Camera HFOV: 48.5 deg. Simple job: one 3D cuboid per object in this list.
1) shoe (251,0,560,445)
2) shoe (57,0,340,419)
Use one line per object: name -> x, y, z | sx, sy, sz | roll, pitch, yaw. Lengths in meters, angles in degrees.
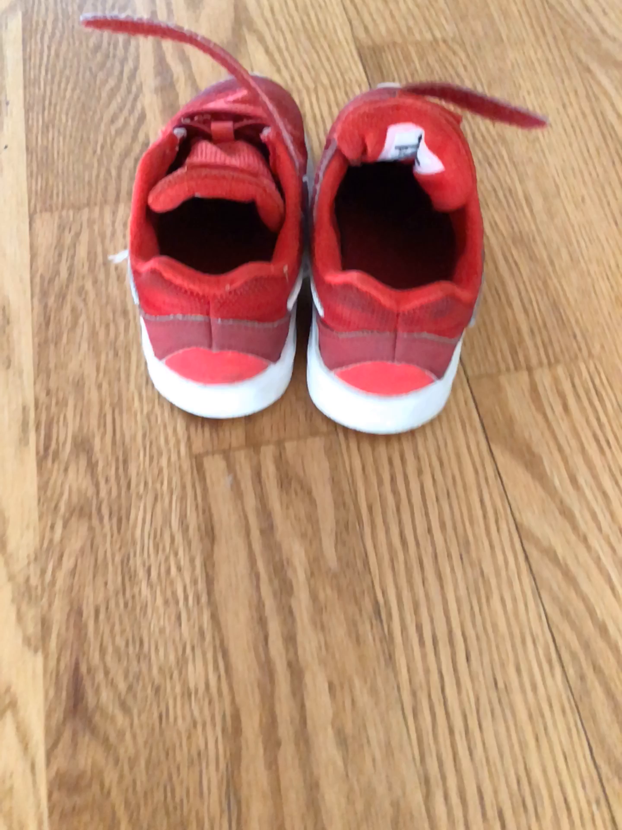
shoe -> 0.033, -0.088, 0.266 | 0.088, 0.069, 0.178 | 6, 64, 0
shoe -> -0.033, -0.093, 0.267 | 0.080, 0.069, 0.176 | 1, 64, -2
